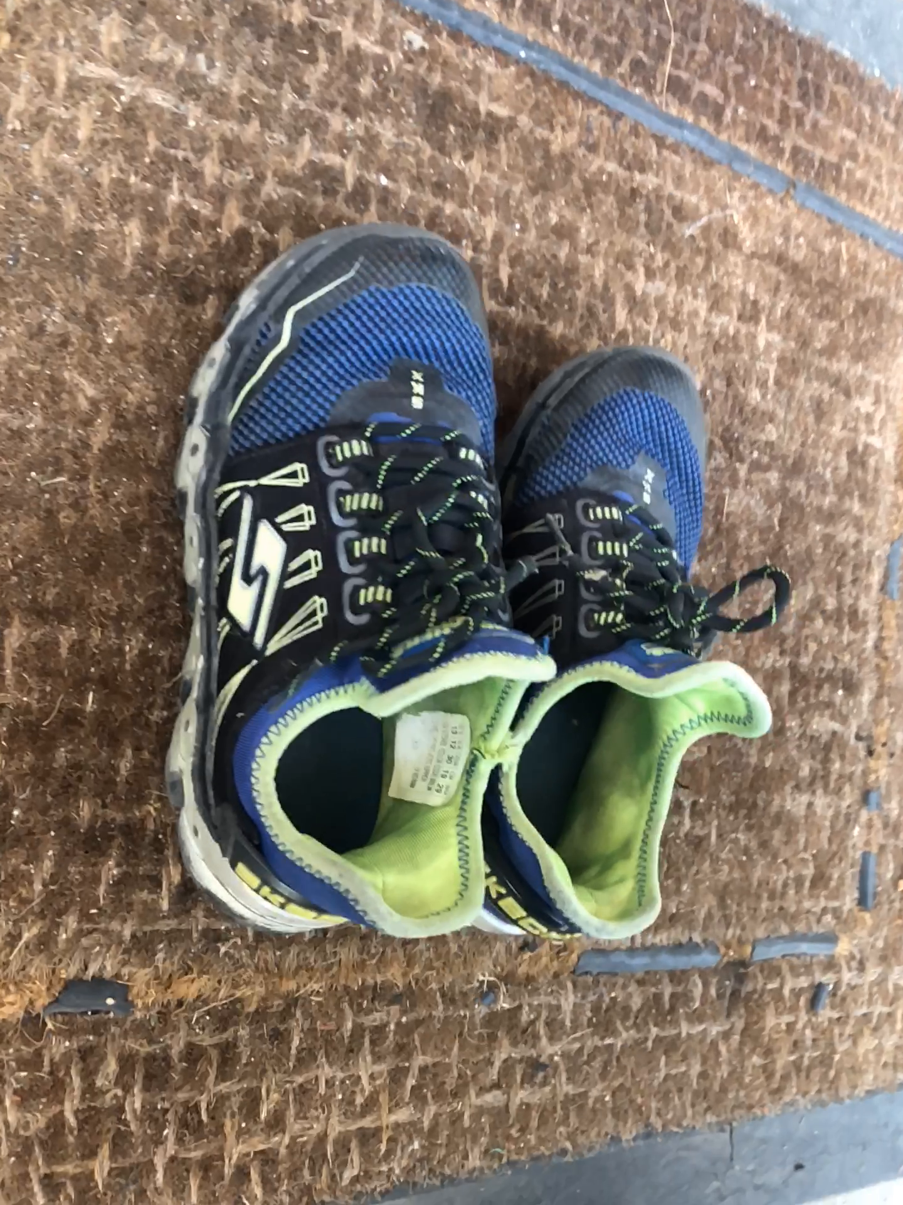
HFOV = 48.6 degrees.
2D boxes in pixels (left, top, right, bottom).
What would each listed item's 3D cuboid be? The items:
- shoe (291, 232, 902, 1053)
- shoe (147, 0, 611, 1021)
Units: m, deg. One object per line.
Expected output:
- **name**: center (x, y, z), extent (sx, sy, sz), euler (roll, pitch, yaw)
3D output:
- **shoe**: center (0.046, 0.011, 0.311), extent (0.090, 0.100, 0.200), euler (28, 75, -27)
- **shoe**: center (-0.024, -0.020, 0.289), extent (0.090, 0.100, 0.230), euler (3, 87, -31)
